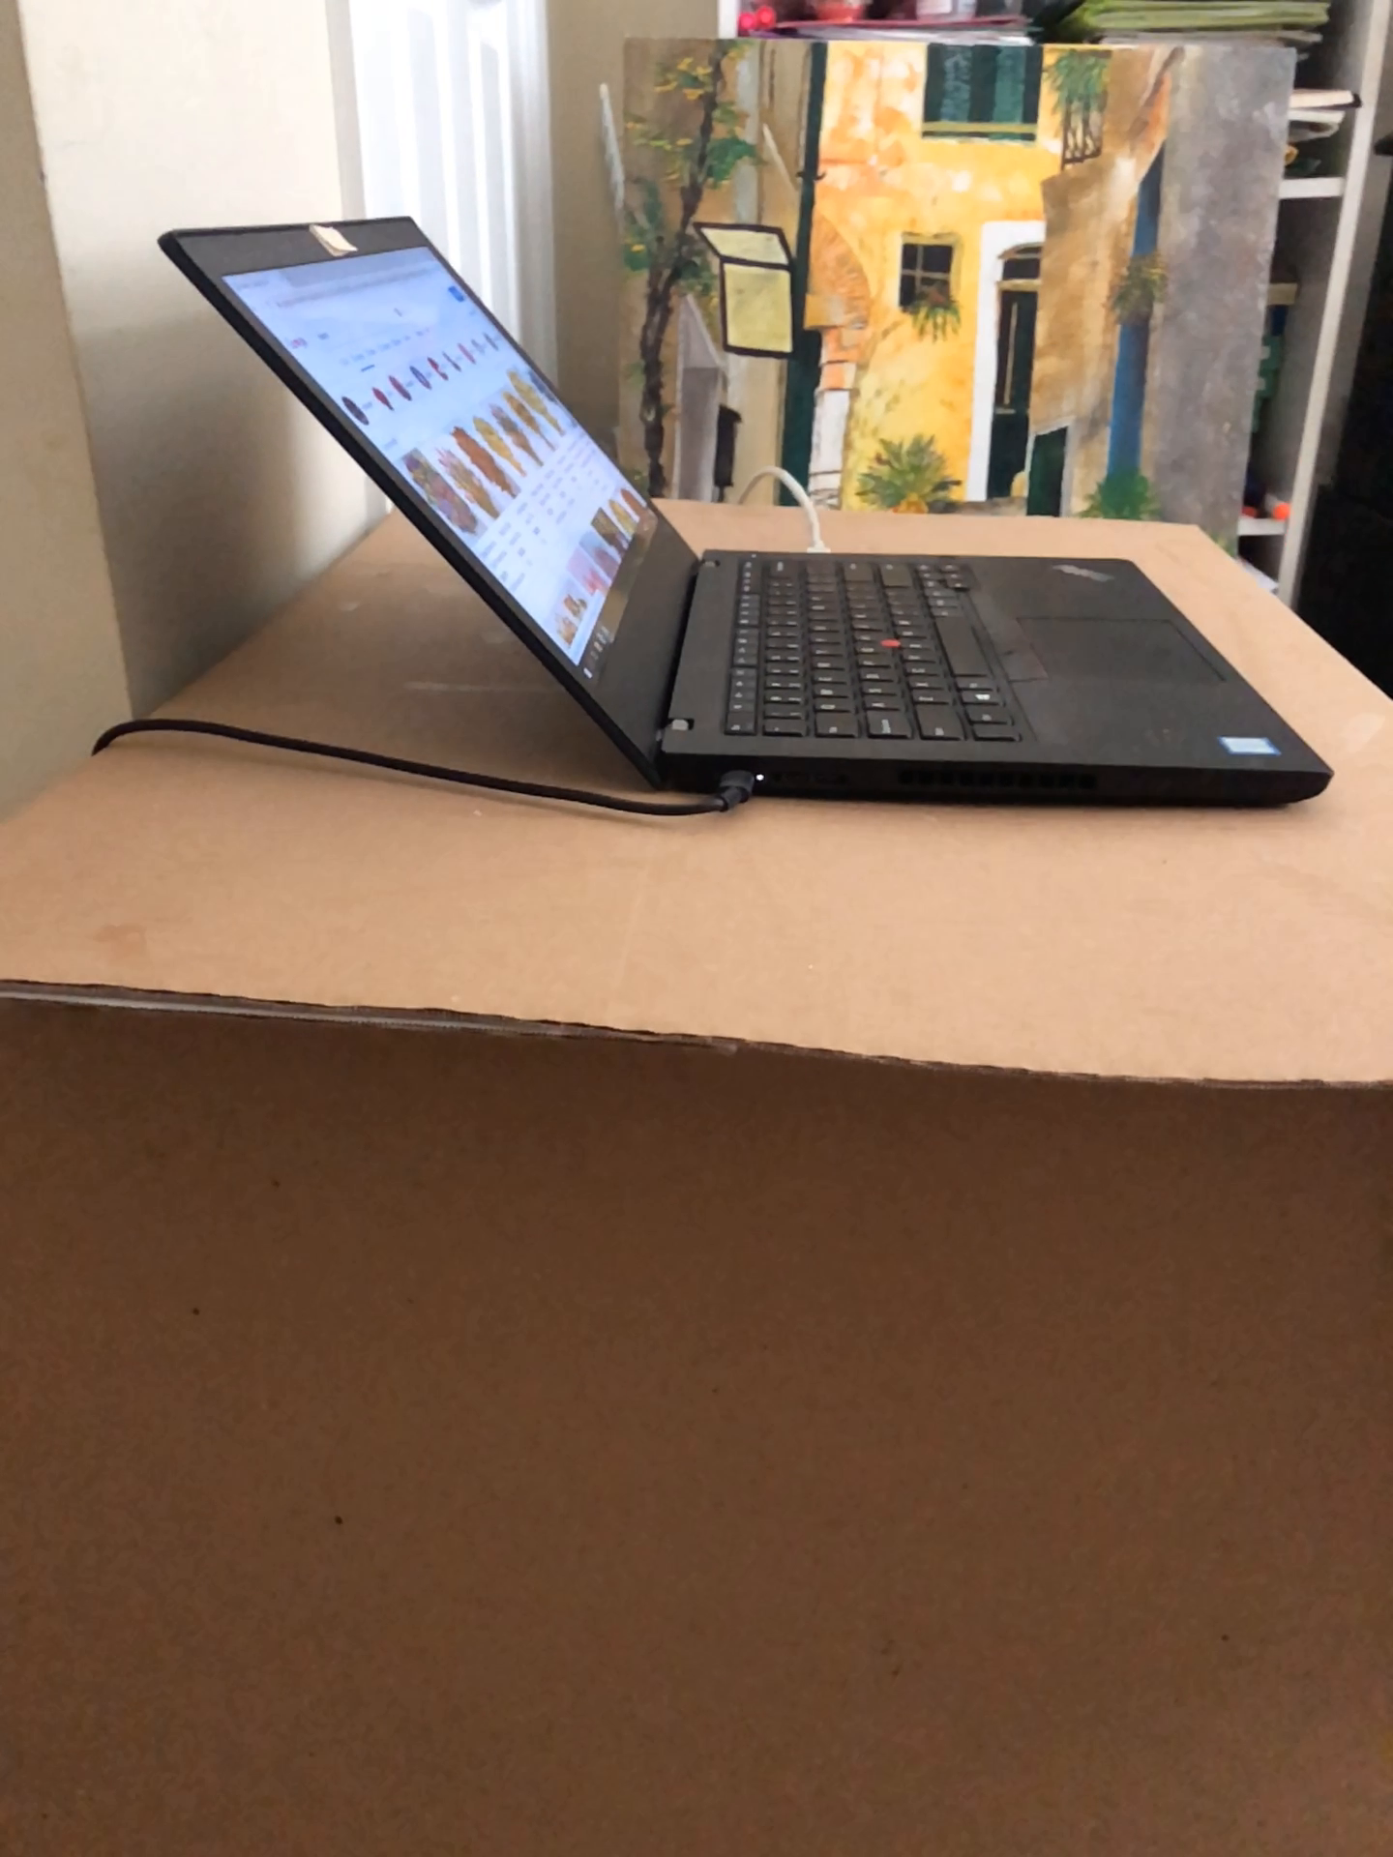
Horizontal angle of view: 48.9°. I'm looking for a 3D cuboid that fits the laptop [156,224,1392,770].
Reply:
[{"bbox_3d":[0.032,-0.196,0.621,0.364,0.158,0.324,1,25,2],"label":"laptop"}]
